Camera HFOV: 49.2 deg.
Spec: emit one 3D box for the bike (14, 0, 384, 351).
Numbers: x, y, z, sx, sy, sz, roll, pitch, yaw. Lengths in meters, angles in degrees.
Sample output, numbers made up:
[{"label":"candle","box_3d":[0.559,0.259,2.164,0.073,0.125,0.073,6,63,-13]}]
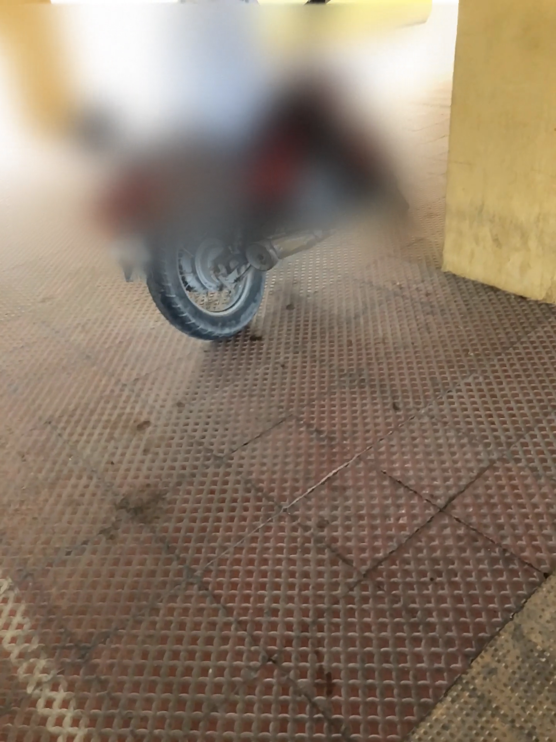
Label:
[{"label":"bike","box_3d":[-0.136,-1.135,2.529,0.756,1.049,1.657,10,42,23]}]
